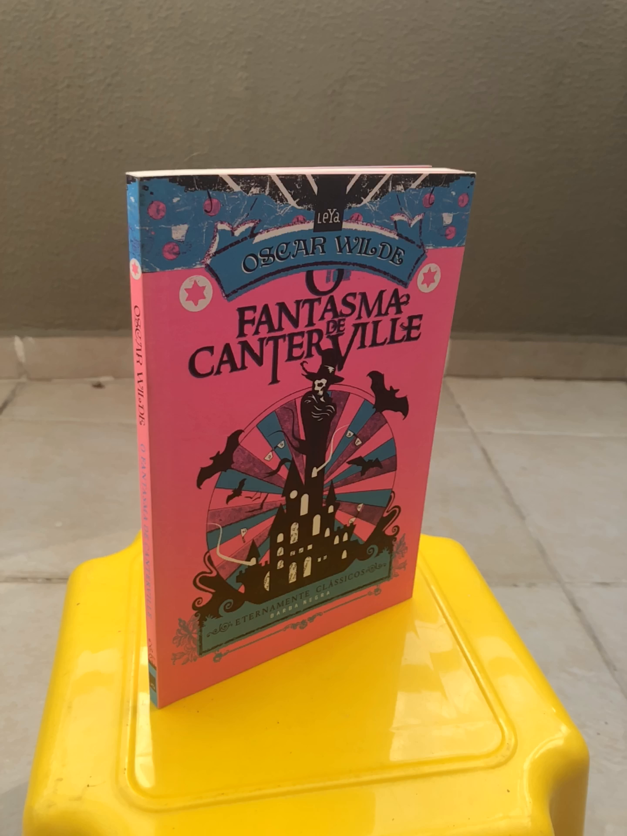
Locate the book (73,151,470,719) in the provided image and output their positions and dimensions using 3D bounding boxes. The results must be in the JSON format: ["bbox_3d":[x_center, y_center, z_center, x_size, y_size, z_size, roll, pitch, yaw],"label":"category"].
[{"bbox_3d":[-0.011,0.007,0.291,0.150,0.218,0.020,-14,30,-32],"label":"book"}]
